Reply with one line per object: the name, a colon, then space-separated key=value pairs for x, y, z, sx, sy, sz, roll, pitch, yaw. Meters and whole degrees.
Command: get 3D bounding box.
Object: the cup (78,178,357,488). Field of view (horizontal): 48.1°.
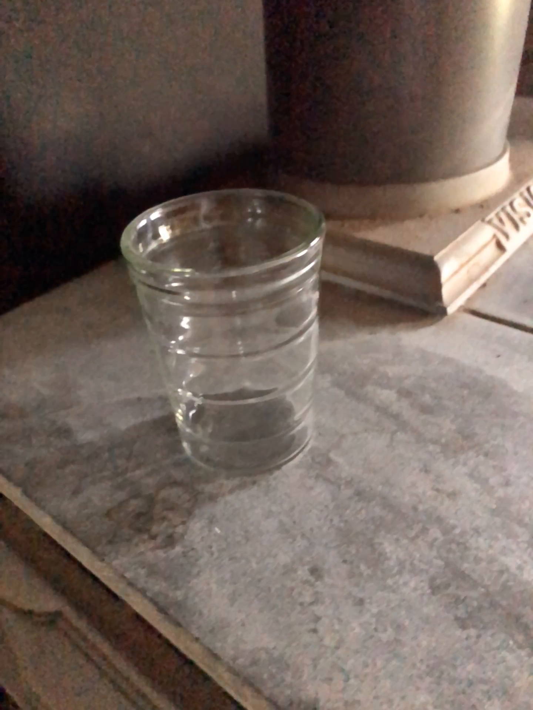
cup: x=-0.008 y=-0.011 z=0.214 sx=0.070 sy=0.080 sz=0.070 roll=-4 pitch=36 yaw=3
